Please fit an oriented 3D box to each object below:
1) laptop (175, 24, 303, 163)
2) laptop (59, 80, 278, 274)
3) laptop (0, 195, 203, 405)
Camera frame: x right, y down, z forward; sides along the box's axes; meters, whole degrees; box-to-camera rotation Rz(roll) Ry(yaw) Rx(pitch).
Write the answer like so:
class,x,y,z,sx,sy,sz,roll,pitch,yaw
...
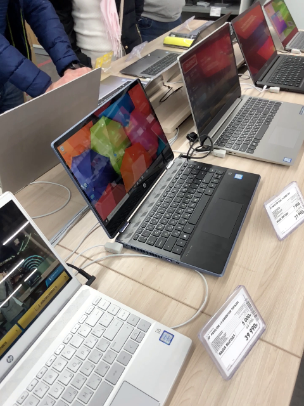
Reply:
class,x,y,z,sx,sy,sz,roll,pitch,yaw
laptop,0.303,-0.340,0.976,0.329,0.218,0.353,19,45,21
laptop,0.051,-0.084,0.723,0.326,0.194,0.327,17,44,19
laptop,-0.149,0.182,0.431,0.323,0.171,0.293,18,42,19
